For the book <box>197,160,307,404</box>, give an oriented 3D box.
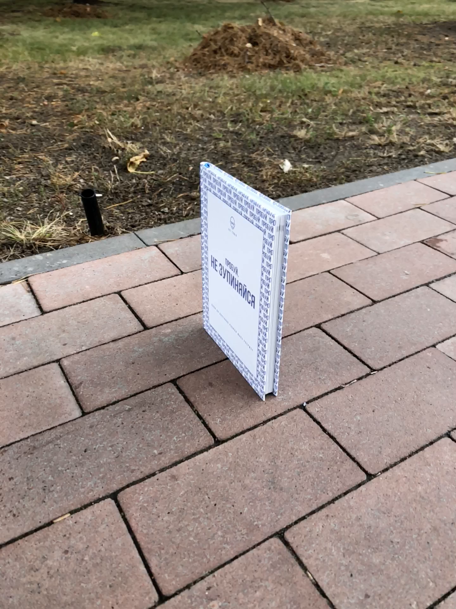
[{"bbox_3d":[0.015,-0.024,0.498,0.022,0.196,0.152,-16,36,-24],"label":"book"}]
